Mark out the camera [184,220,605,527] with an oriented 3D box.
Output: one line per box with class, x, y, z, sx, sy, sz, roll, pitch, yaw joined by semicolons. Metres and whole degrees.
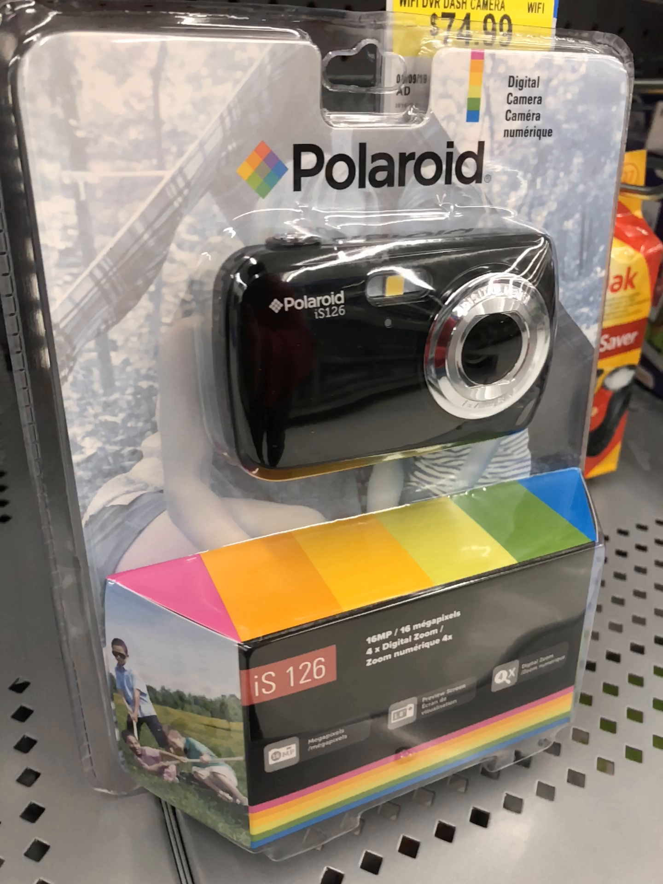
camera;0.016;-0.021;0.196;0.100;0.060;0.030;-11;36;-23
